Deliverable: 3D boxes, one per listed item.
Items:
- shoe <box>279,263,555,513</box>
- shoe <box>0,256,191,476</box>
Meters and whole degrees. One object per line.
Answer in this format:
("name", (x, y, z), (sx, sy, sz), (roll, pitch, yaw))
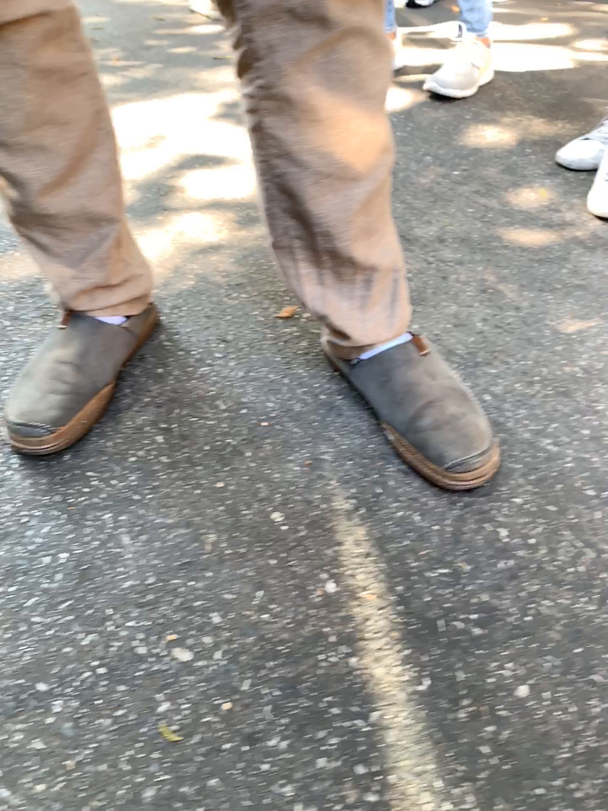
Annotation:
("shoe", (0.105, -0.039, 0.702), (0.120, 0.079, 0.322), (-23, 47, -21))
("shoe", (-0.242, -0.065, 0.731), (0.120, 0.060, 0.322), (5, 43, 8))
